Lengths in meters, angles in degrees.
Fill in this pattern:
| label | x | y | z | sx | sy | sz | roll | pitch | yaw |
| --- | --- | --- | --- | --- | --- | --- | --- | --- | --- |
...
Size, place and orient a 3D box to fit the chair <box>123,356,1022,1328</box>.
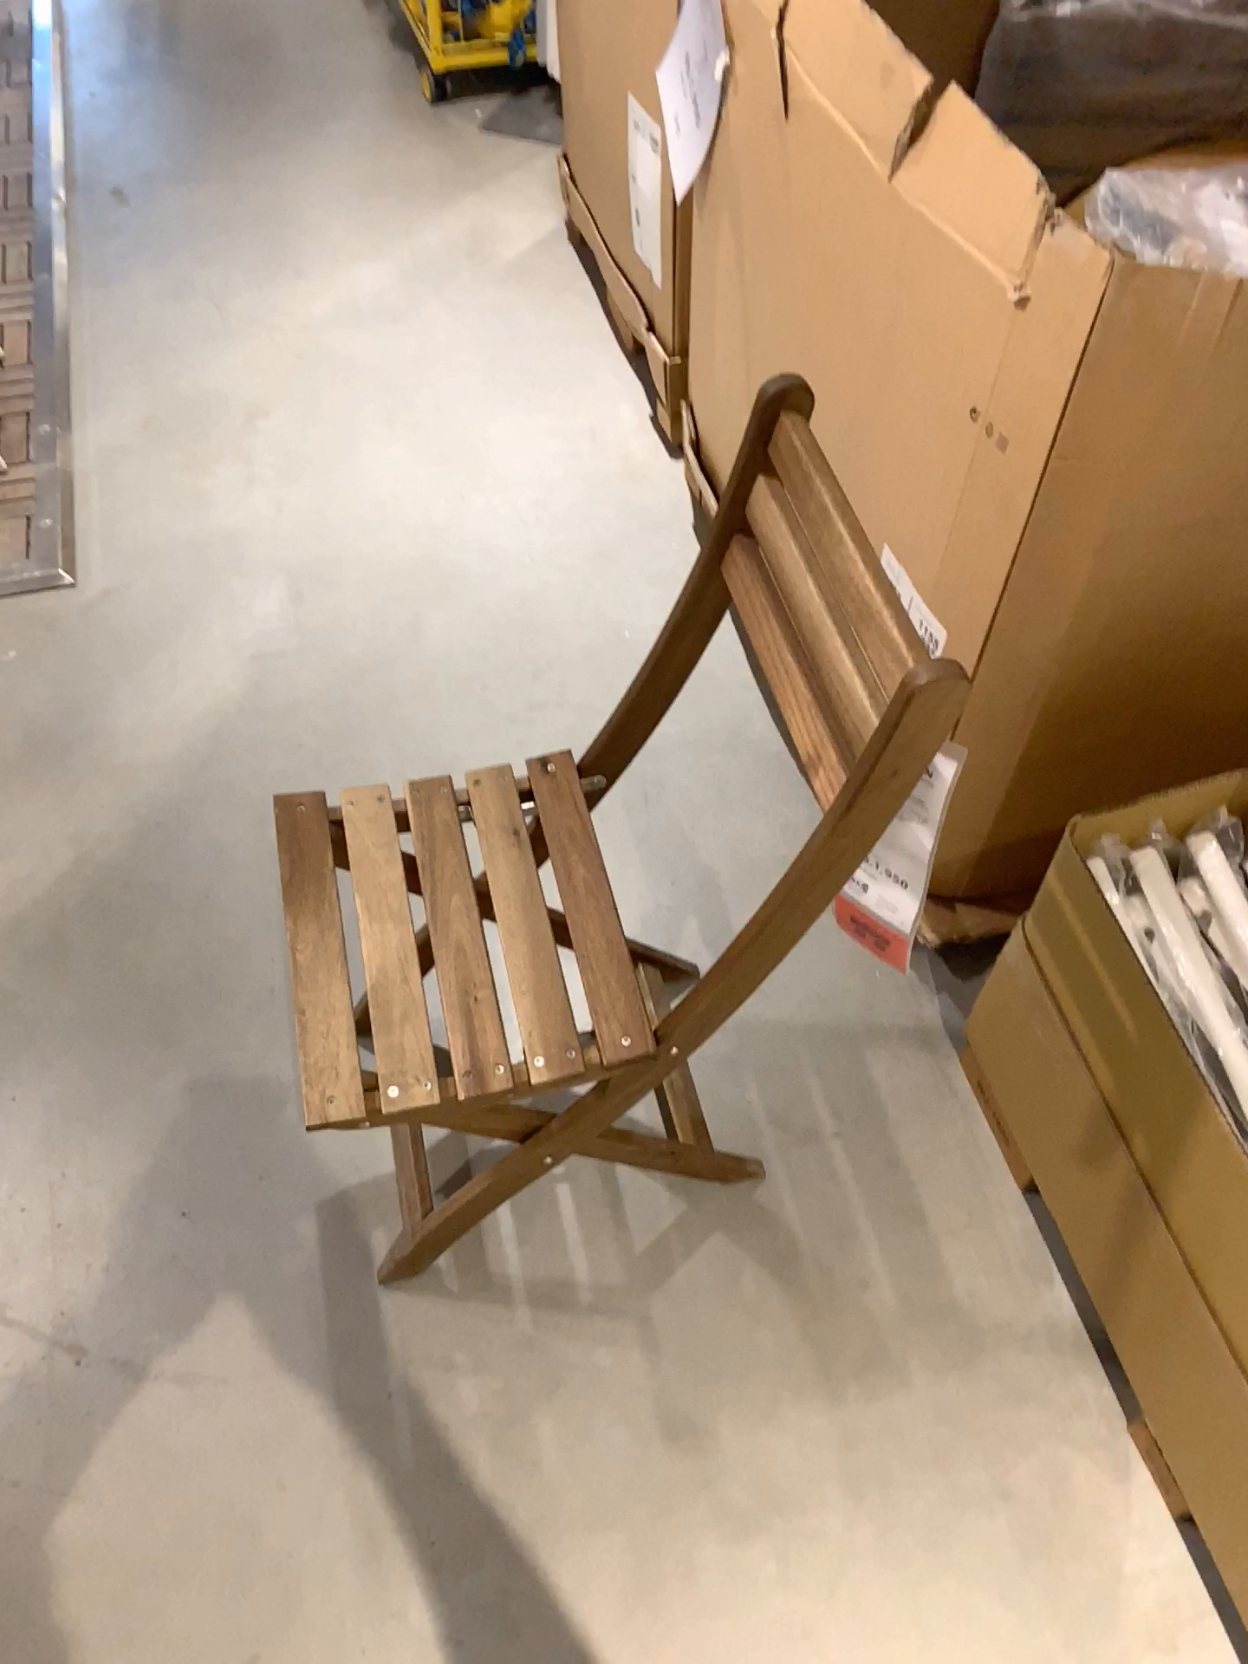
| label | x | y | z | sx | sy | sz | roll | pitch | yaw |
| --- | --- | --- | --- | --- | --- | --- | --- | --- | --- |
| chair | -0.068 | 0.065 | 1.129 | 0.510 | 0.768 | 0.401 | -11 | 54 | -9 |
